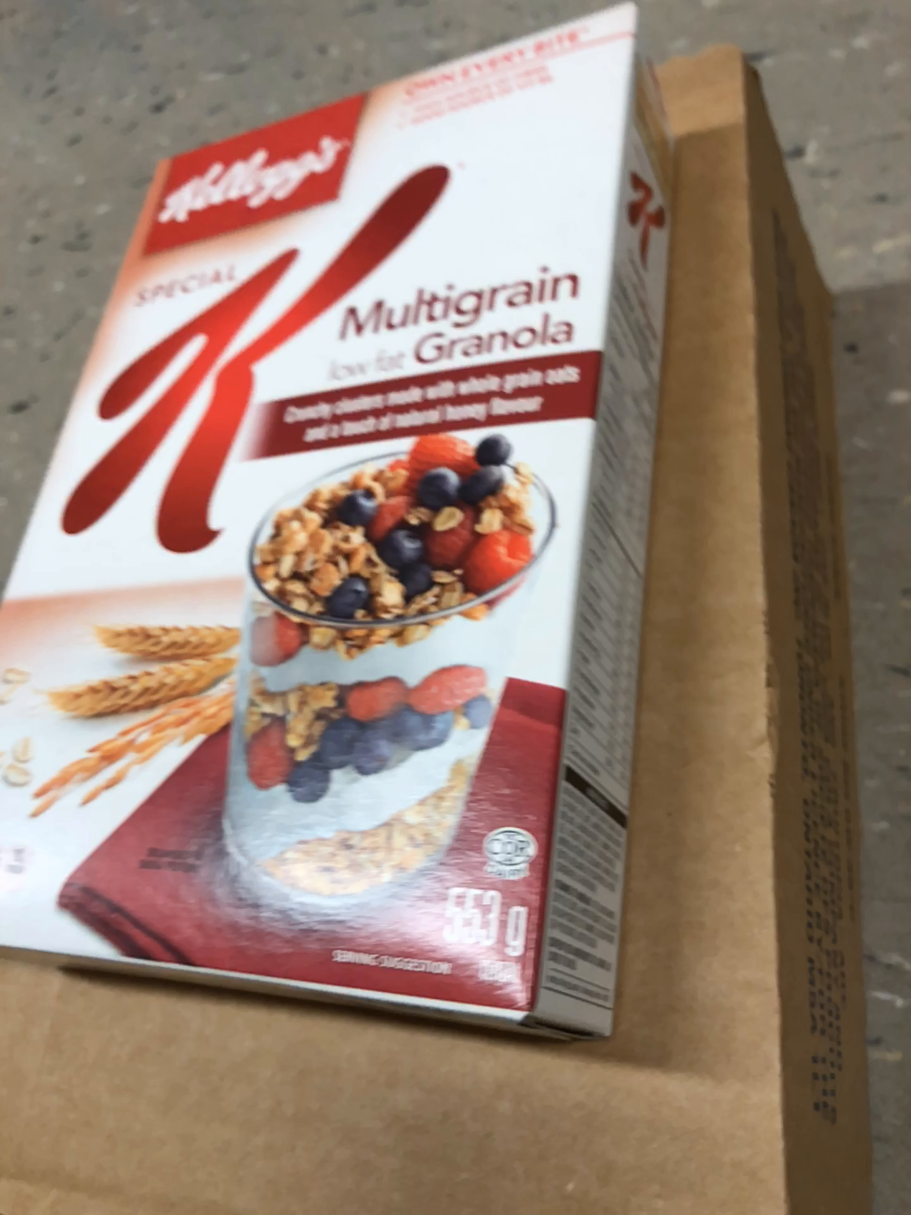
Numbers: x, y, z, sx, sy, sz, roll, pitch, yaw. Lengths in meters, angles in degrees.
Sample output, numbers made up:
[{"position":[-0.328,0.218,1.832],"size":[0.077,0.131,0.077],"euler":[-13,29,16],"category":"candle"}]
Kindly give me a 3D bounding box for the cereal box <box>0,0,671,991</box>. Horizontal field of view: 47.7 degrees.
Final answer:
[{"position":[-0.037,-0.048,0.278],"size":[0.180,0.050,0.270],"euler":[-4,61,19],"category":"cereal box"}]
